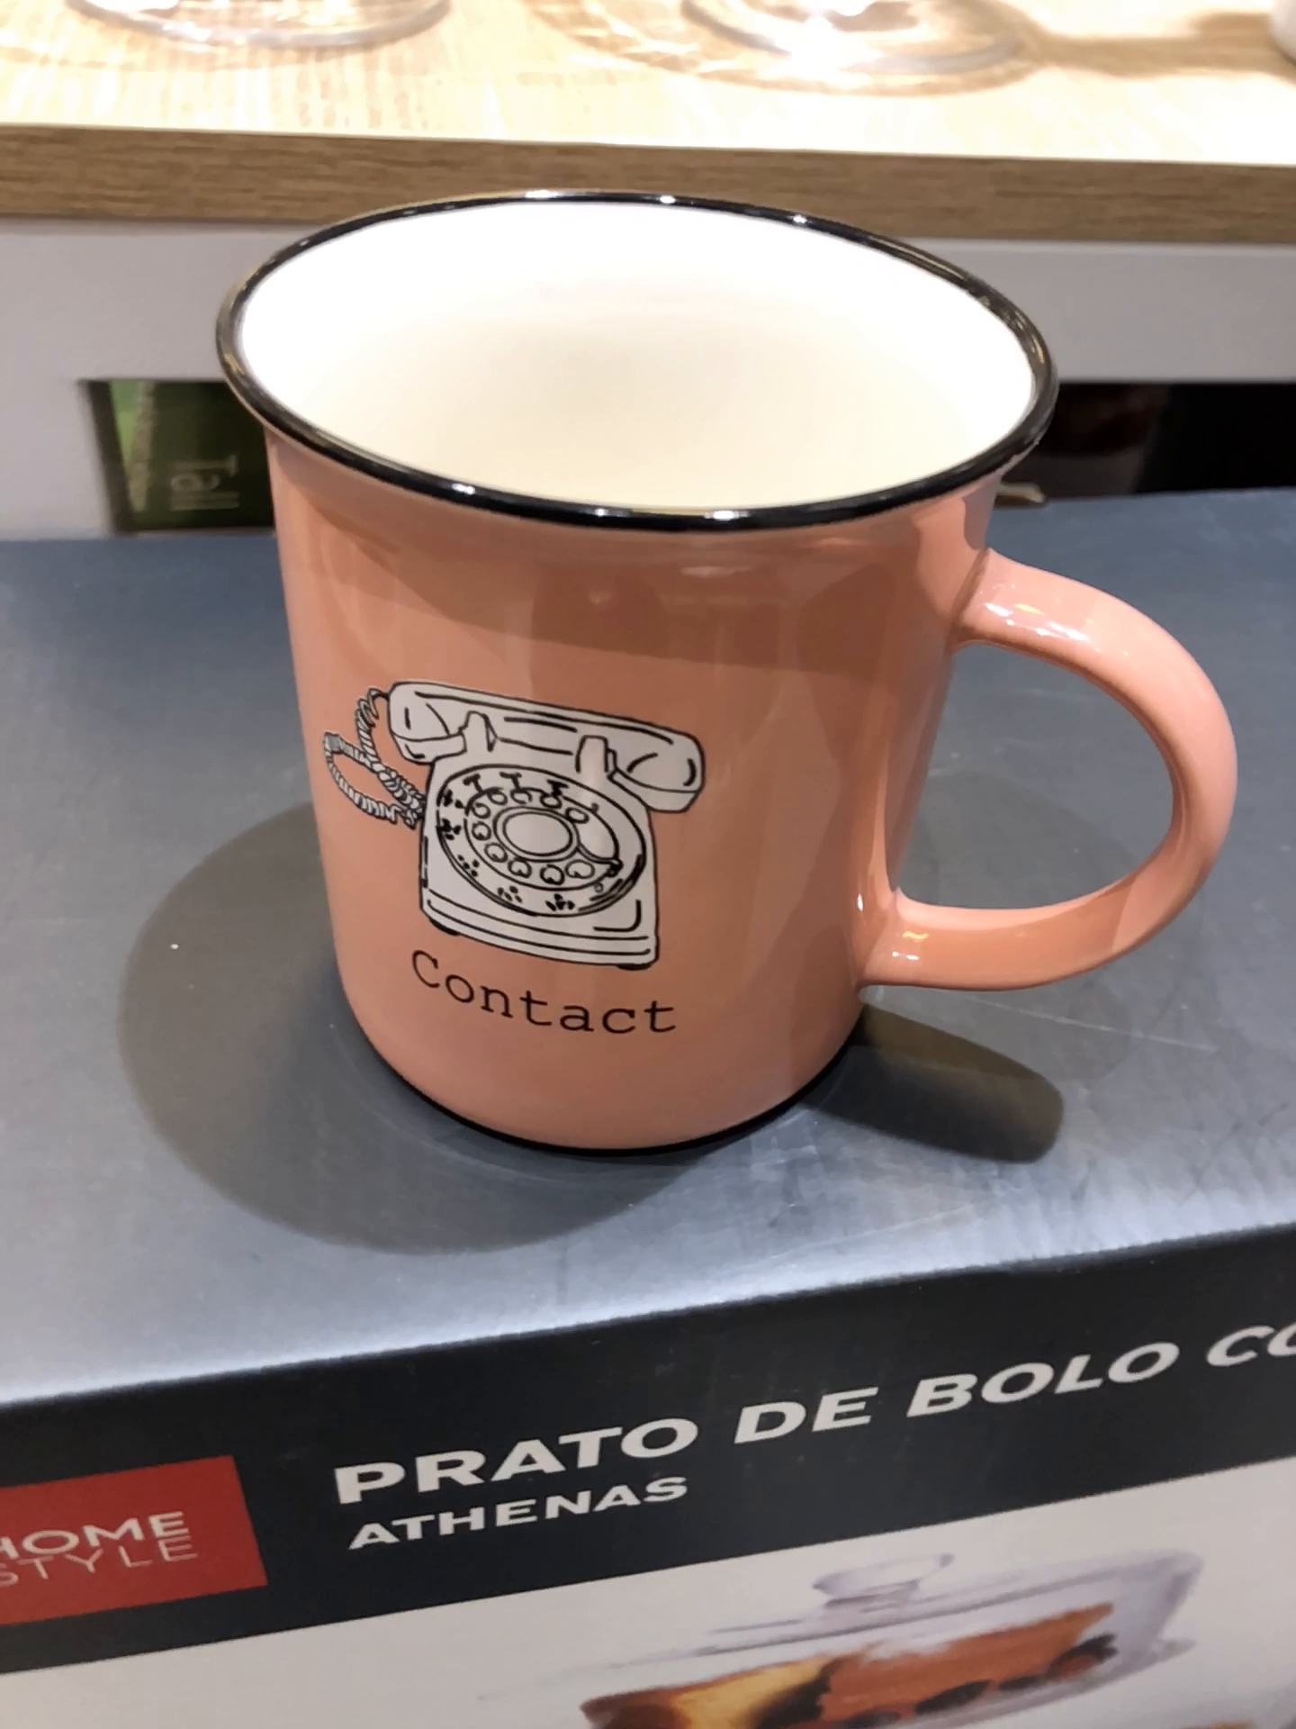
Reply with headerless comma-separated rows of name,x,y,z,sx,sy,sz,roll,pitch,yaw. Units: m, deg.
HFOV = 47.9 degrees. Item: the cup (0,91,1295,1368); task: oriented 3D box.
cup,0.003,-0.017,0.161,0.110,0.089,0.081,13,44,8
